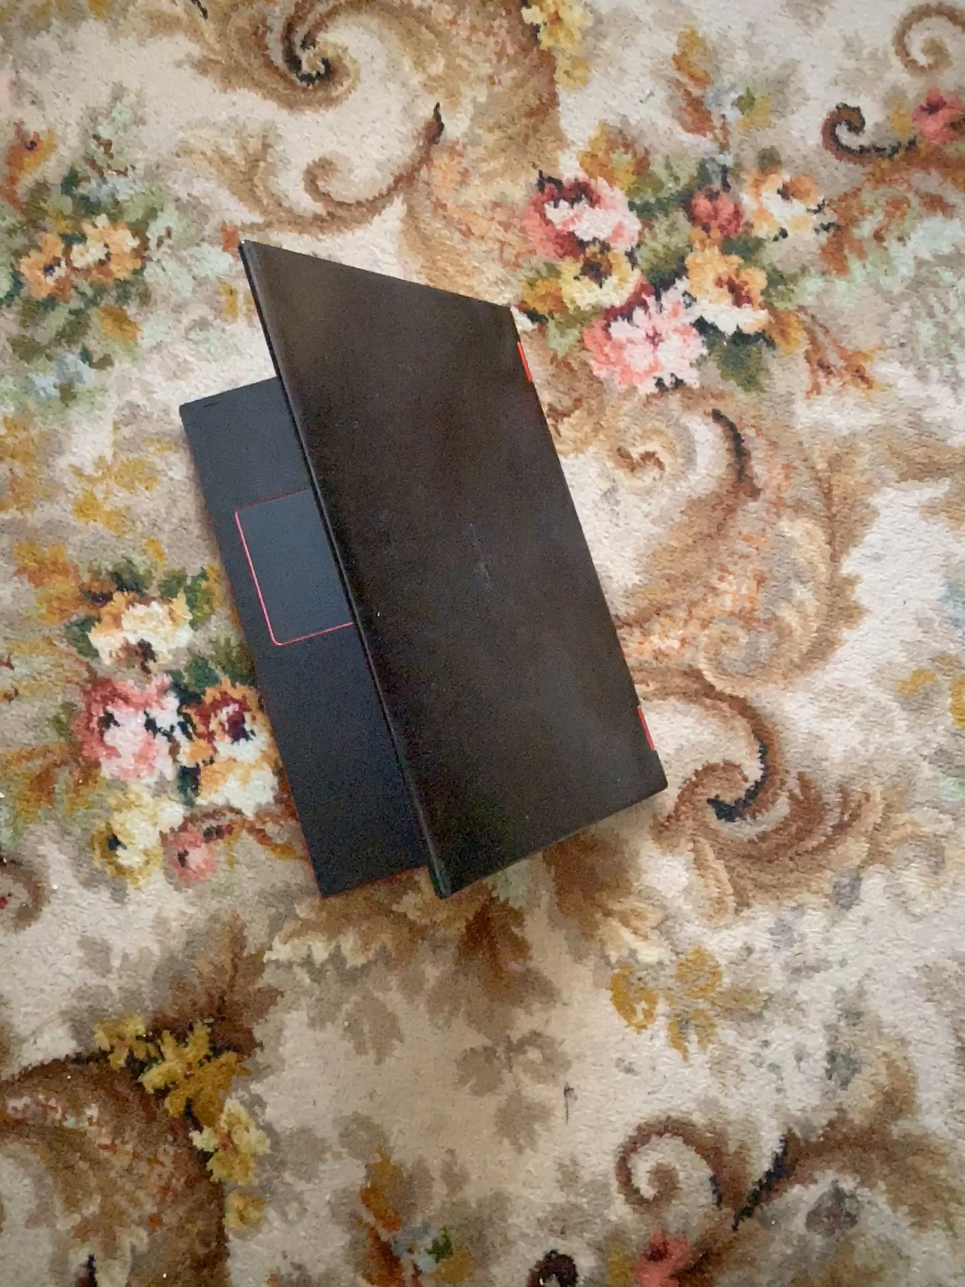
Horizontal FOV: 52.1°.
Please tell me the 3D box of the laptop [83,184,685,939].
[{"bbox_3d":[-0.058,-0.041,0.608,0.224,0.173,0.356,-18,84,0],"label":"laptop"}]
